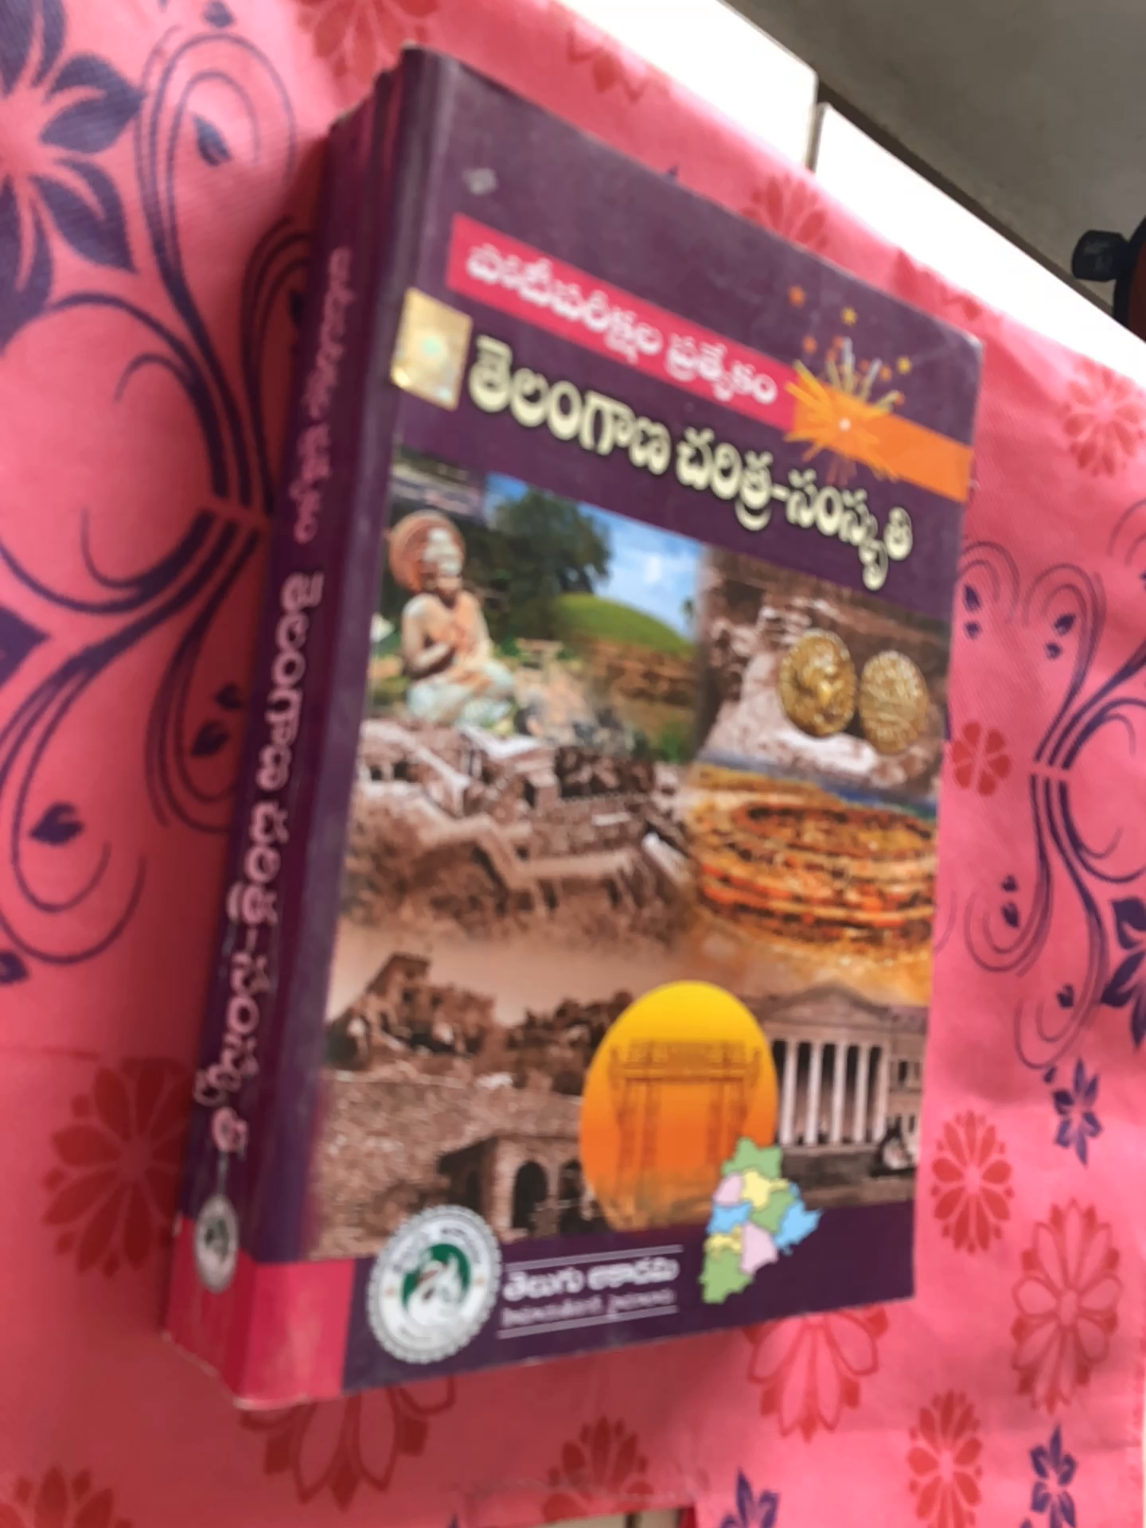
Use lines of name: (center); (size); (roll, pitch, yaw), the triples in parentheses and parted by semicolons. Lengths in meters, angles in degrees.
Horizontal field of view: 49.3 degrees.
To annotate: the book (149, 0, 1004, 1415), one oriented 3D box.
book: (0.019, -0.008, 0.315); (0.201, 0.050, 0.280); (10, 82, -35)
